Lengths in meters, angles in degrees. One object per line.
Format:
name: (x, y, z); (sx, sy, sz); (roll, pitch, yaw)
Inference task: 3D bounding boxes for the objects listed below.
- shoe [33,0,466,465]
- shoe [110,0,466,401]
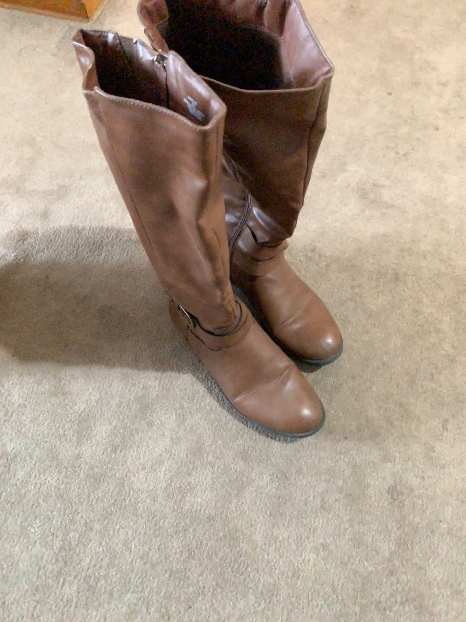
shoe: (0.008, -0.028, 0.433); (0.110, 0.368, 0.261); (-41, 70, -18)
shoe: (0.042, -0.104, 0.494); (0.120, 0.398, 0.271); (-34, 68, -15)
